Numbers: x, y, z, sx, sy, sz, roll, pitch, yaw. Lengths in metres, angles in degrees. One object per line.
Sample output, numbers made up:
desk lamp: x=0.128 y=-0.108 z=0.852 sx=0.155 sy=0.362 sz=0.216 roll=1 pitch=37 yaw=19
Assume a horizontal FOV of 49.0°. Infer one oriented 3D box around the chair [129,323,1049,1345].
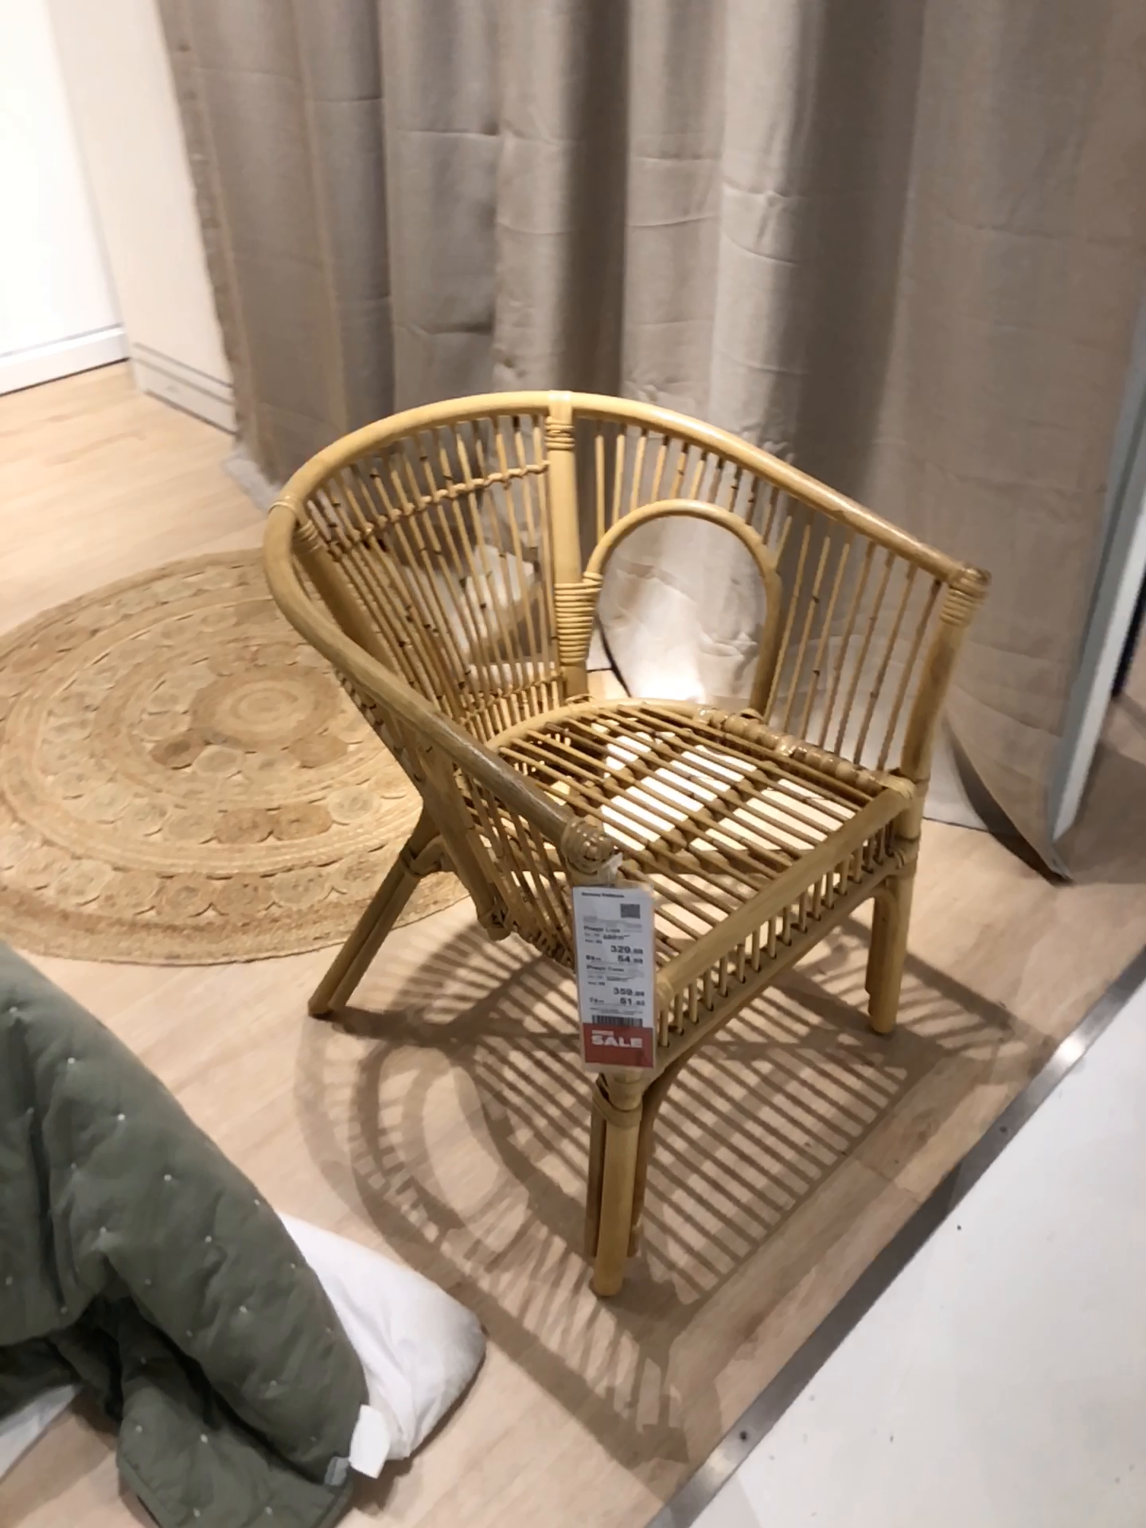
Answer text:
chair: x=0.012 y=0.028 z=1.402 sx=0.593 sy=0.754 sz=0.632 roll=-30 pitch=46 yaw=-33
